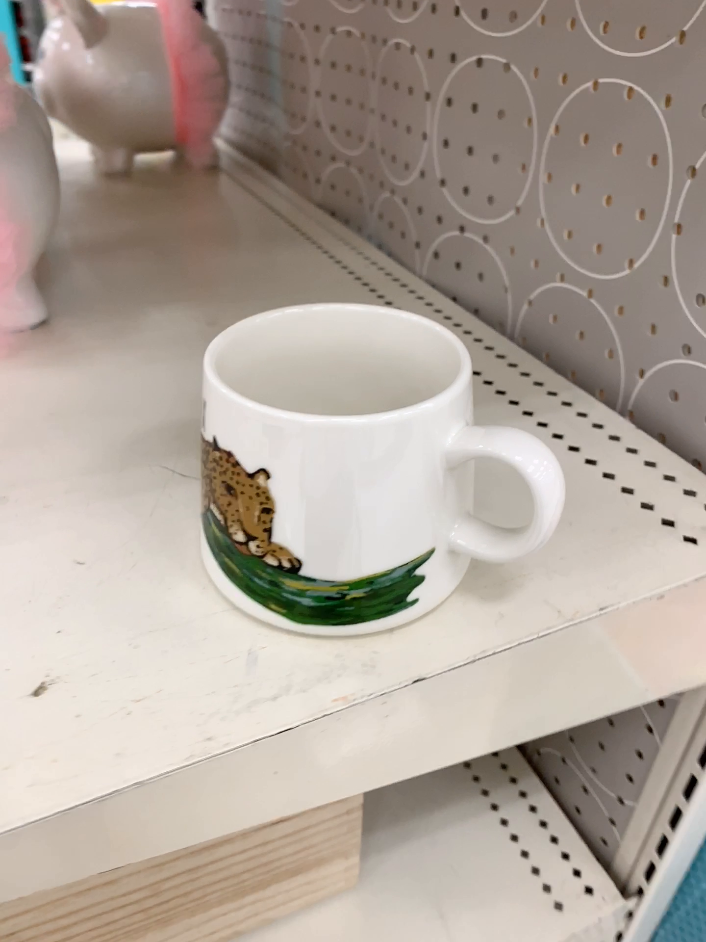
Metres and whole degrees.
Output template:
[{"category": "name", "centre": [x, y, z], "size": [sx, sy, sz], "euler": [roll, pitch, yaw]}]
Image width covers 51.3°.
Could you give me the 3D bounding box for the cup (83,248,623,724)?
[{"category": "cup", "centre": [0.003, -0.009, 0.267], "size": [0.140, 0.090, 0.110], "euler": [20, 39, 25]}]
